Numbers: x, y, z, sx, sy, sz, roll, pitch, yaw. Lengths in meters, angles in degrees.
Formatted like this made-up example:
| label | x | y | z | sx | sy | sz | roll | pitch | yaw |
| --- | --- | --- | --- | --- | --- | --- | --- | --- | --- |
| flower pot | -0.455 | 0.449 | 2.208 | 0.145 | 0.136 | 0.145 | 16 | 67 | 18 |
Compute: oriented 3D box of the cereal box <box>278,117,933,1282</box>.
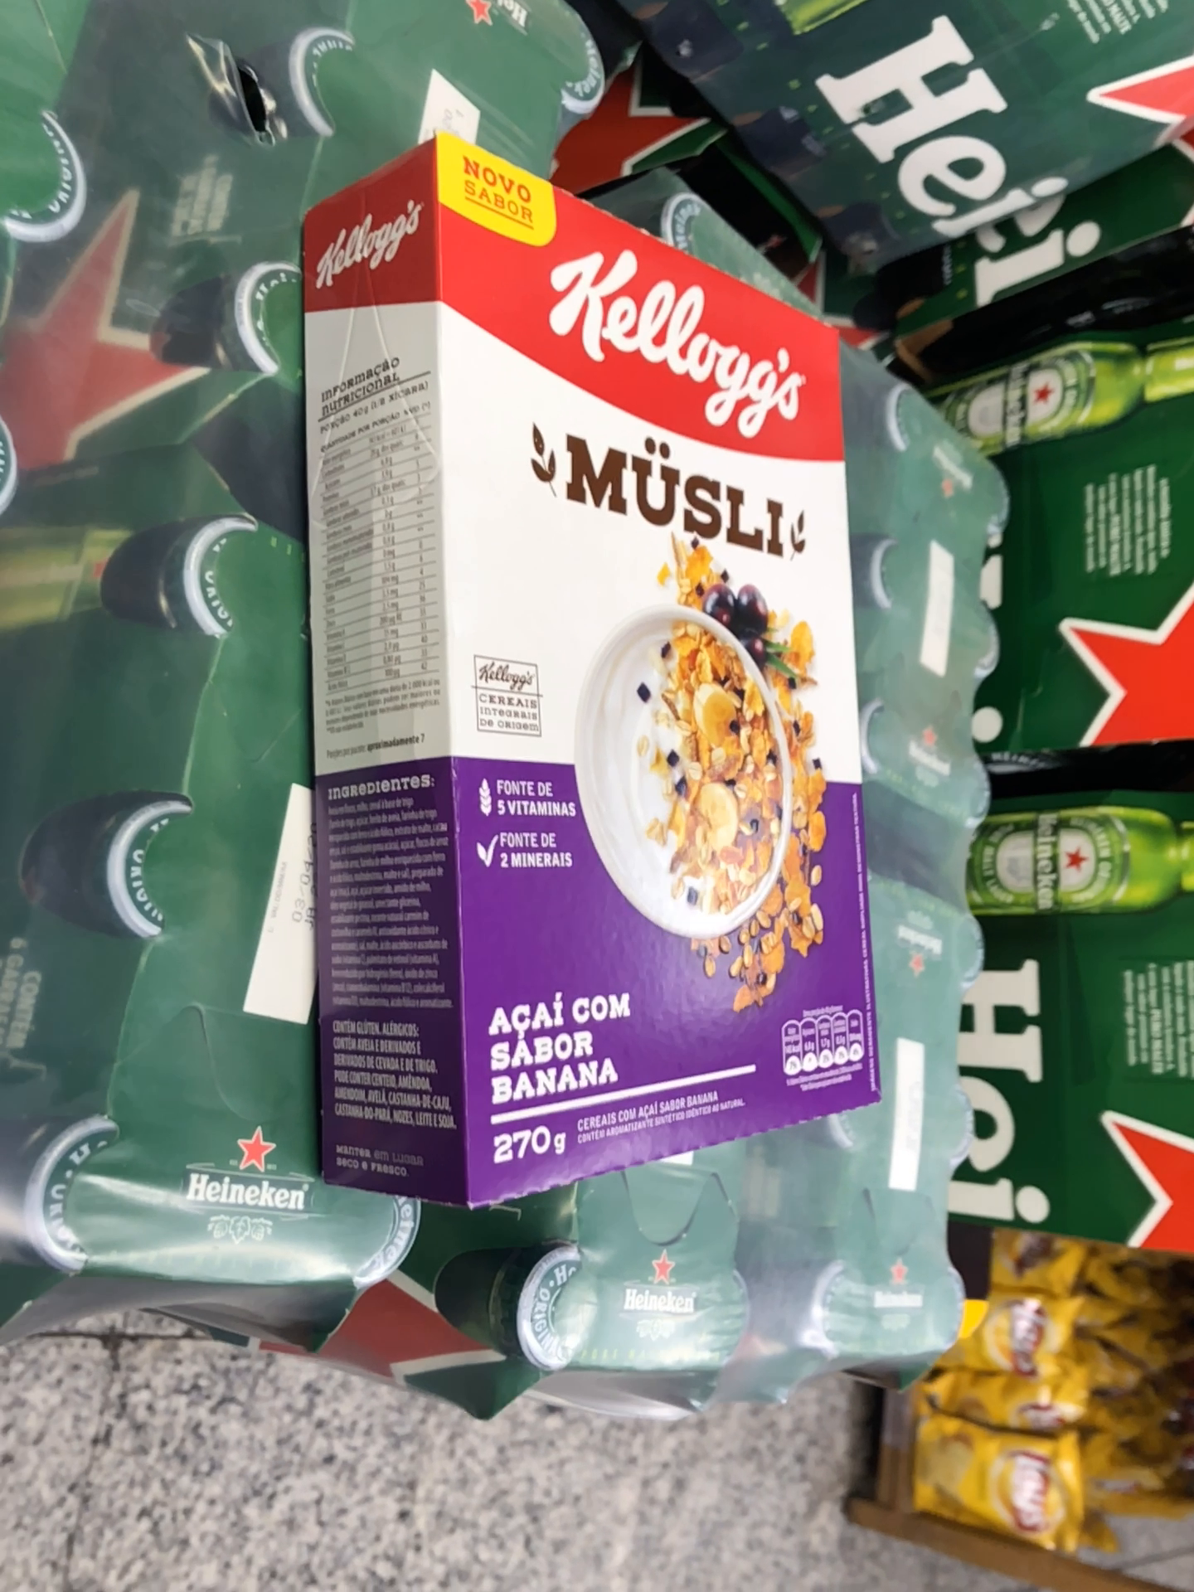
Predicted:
| label | x | y | z | sx | sy | sz | roll | pitch | yaw |
| --- | --- | --- | --- | --- | --- | --- | --- | --- | --- |
| cereal box | 0.010 | -0.015 | 0.283 | 0.151 | 0.040 | 0.190 | 2 | 84 | -47 |
